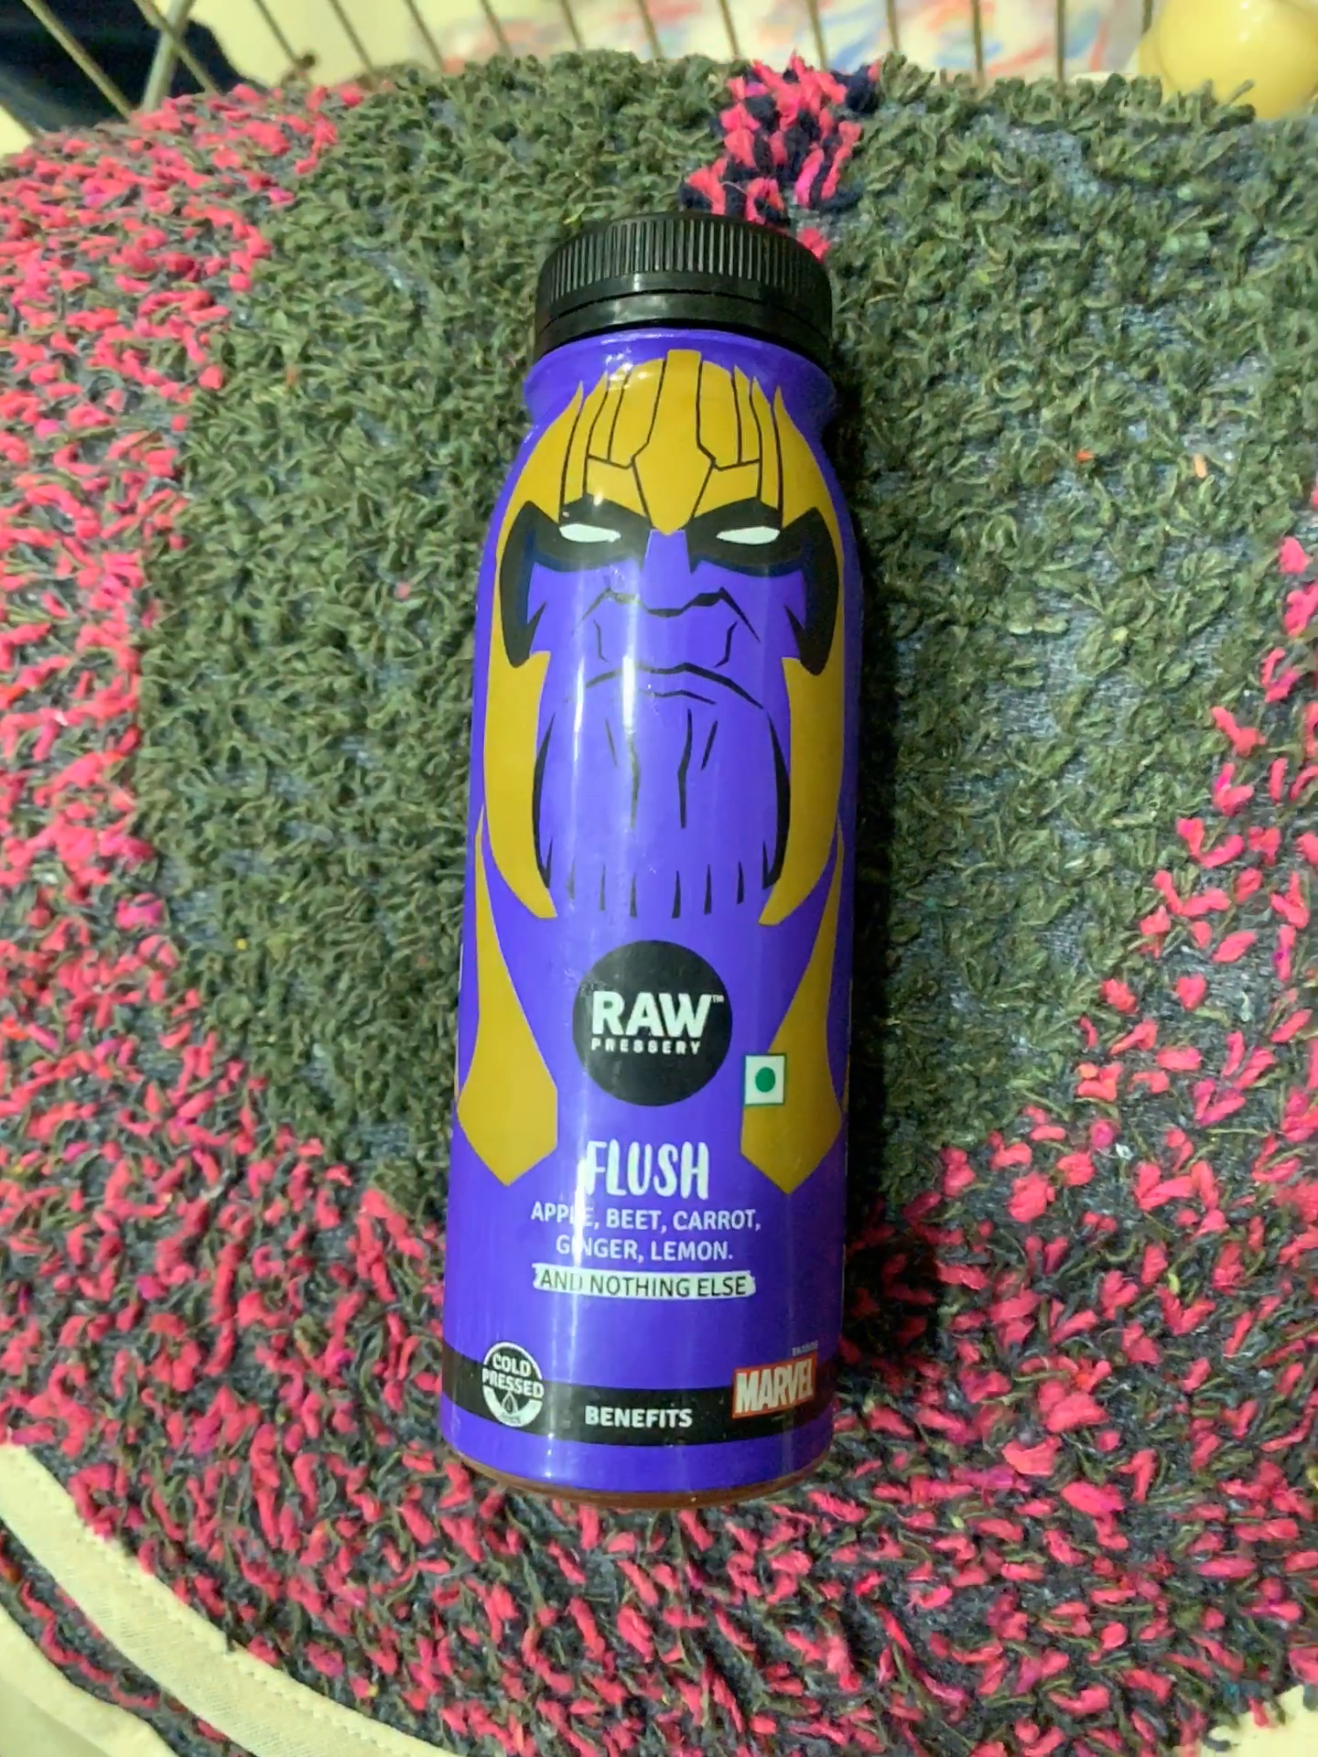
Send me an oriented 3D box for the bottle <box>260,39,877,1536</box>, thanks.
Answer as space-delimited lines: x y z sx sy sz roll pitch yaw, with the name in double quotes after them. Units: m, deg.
-0.006 -0.013 0.183 0.060 0.050 0.170 3 85 8 "bottle"
